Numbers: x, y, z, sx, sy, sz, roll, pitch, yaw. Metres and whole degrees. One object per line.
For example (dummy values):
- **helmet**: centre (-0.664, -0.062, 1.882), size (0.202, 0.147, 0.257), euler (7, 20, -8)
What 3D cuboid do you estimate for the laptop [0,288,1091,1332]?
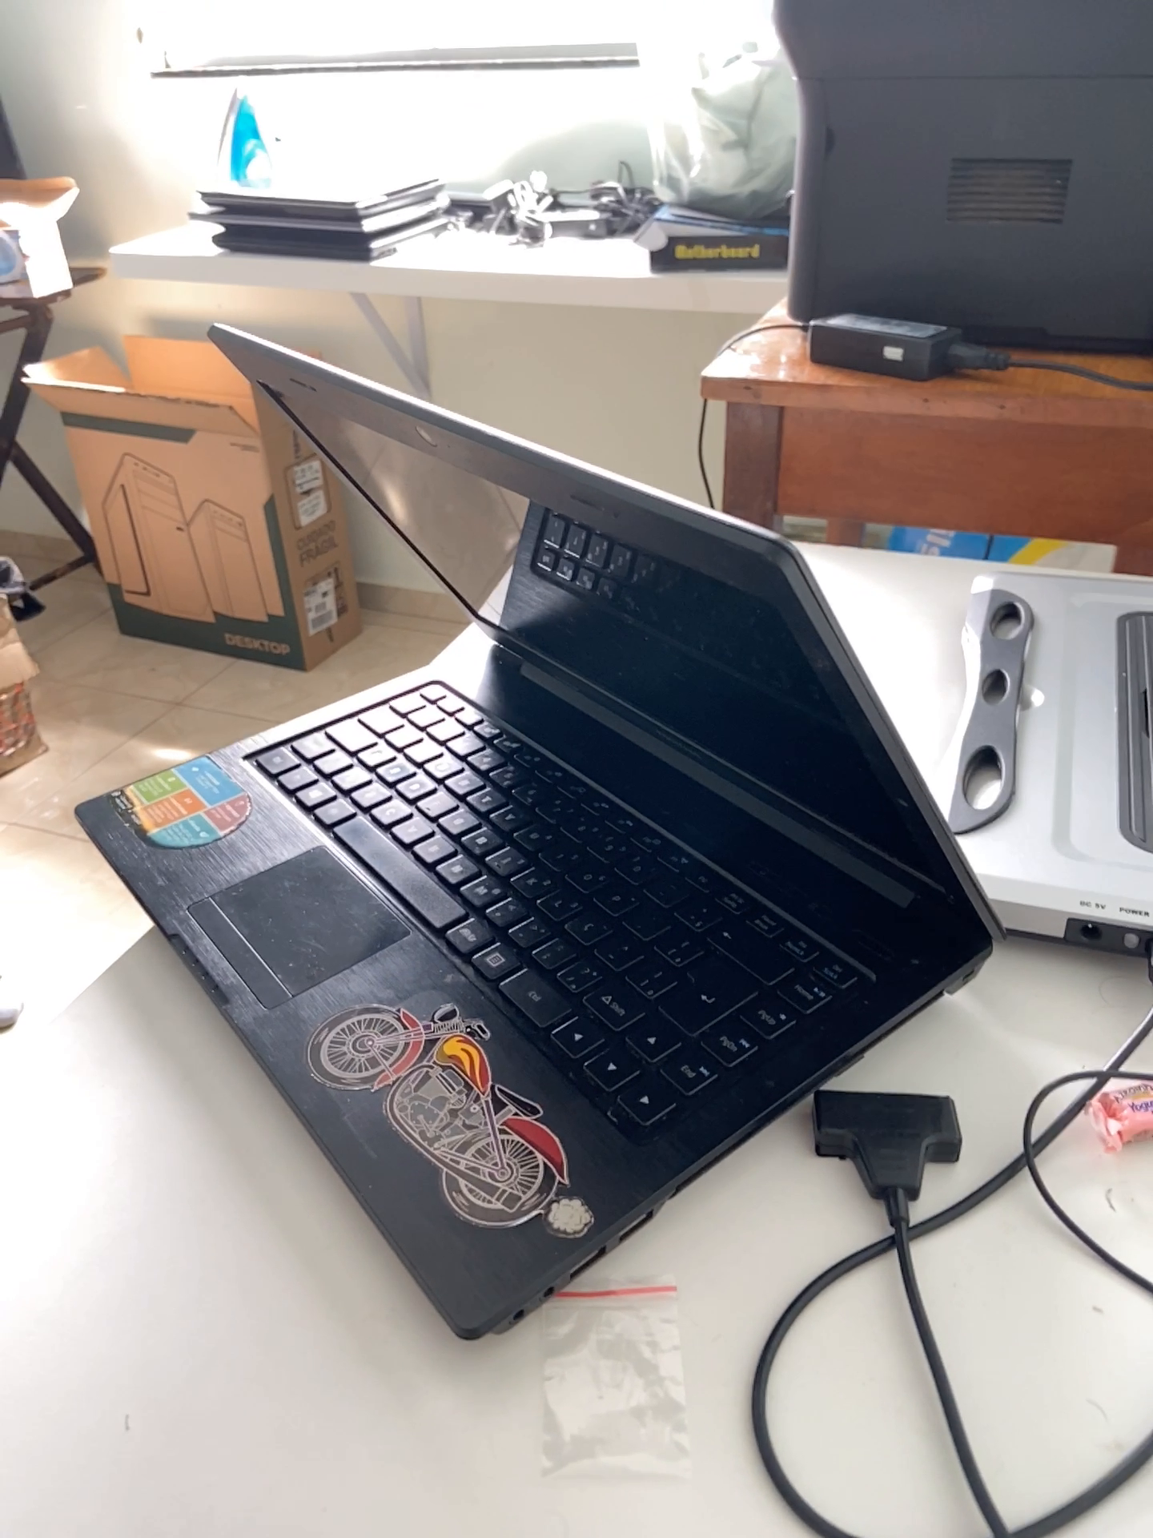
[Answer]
- **laptop**: centre (-0.043, -0.039, 0.440), size (0.233, 0.189, 0.331), euler (-24, 38, -30)
